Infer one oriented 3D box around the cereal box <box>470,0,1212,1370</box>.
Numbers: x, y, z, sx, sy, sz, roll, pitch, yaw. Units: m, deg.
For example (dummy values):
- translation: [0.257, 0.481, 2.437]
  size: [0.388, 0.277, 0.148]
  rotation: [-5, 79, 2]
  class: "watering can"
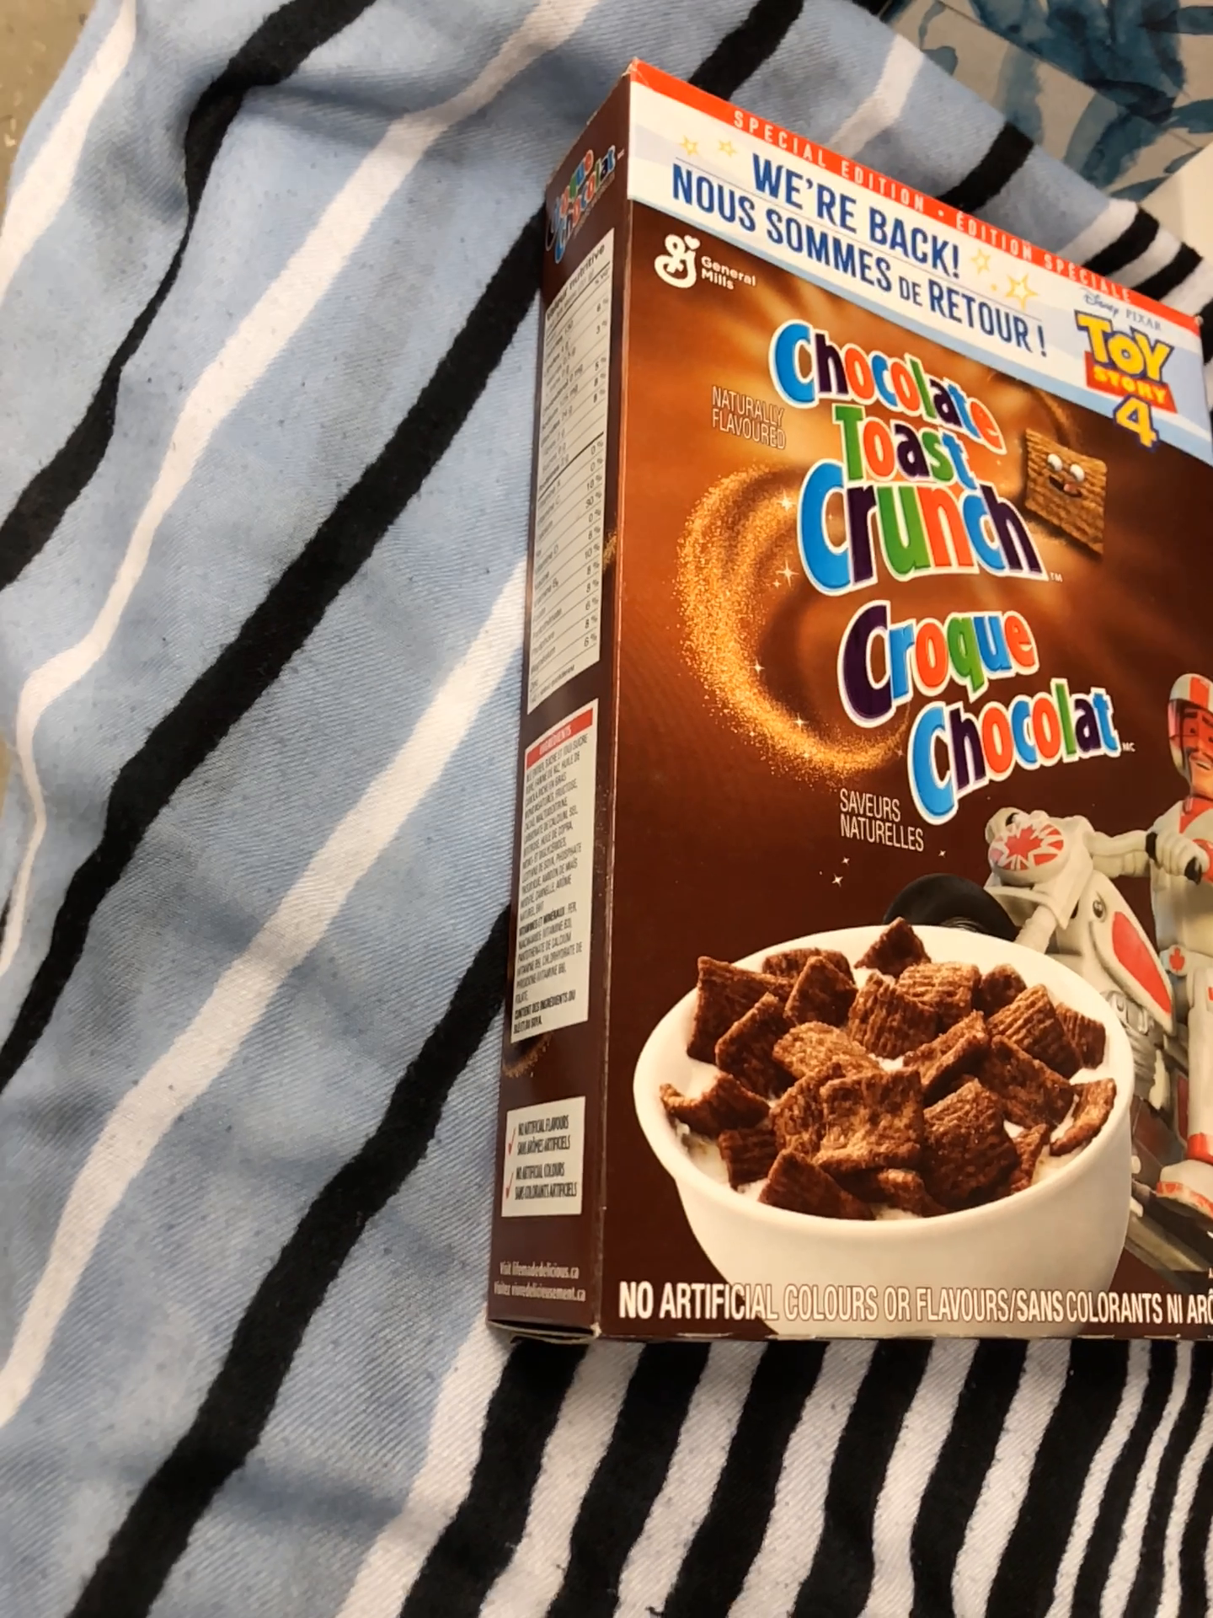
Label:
- translation: [0.084, -0.026, 0.340]
  size: [0.211, 0.060, 0.300]
  rotation: [10, 72, -26]
  class: "cereal box"
